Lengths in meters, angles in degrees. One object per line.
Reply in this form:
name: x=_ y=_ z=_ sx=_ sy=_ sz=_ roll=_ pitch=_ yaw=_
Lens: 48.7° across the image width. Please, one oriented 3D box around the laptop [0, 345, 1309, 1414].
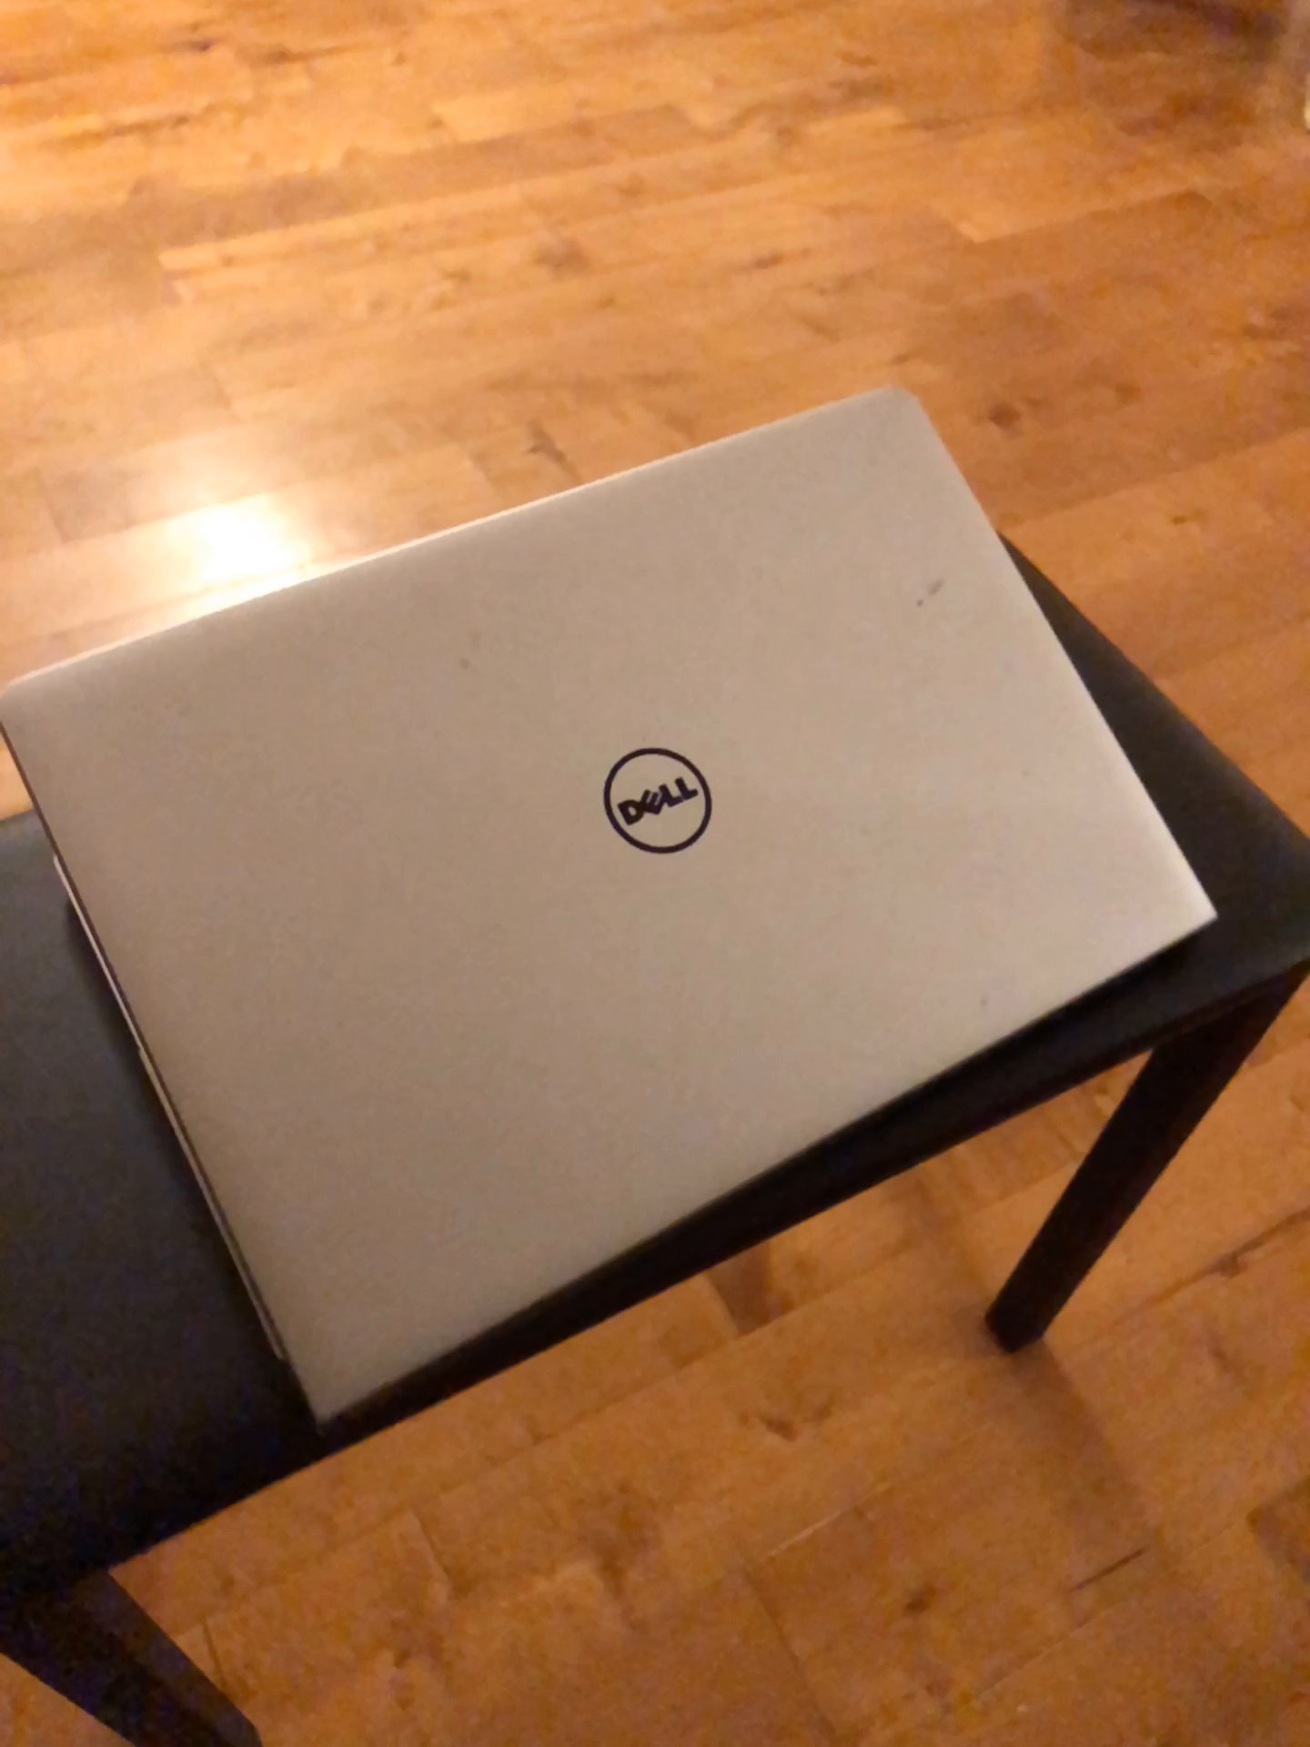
laptop: x=-0.005 y=-0.028 z=0.516 sx=0.365 sy=0.107 sz=0.248 roll=-25 pitch=59 yaw=-21
